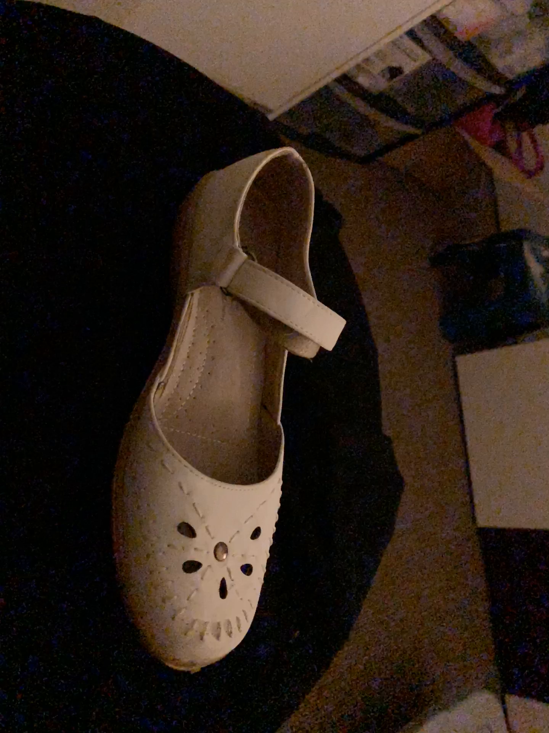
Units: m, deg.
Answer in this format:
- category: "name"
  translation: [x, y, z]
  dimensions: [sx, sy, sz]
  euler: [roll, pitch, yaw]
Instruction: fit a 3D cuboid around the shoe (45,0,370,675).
- category: "shoe"
  translation: [-0.024, -0.015, 0.280]
  dimensions: [0.098, 0.099, 0.271]
  euler: [17, 68, -41]
